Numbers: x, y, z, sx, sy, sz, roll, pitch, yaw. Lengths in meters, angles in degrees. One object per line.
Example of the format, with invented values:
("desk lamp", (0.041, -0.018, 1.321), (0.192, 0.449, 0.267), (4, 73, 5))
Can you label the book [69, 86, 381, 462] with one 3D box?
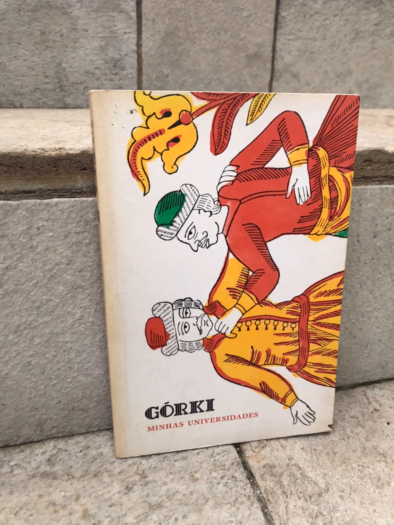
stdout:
("book", (0.015, 0.008, 0.236), (0.142, 0.189, 0.030), (-4, 17, -10))
